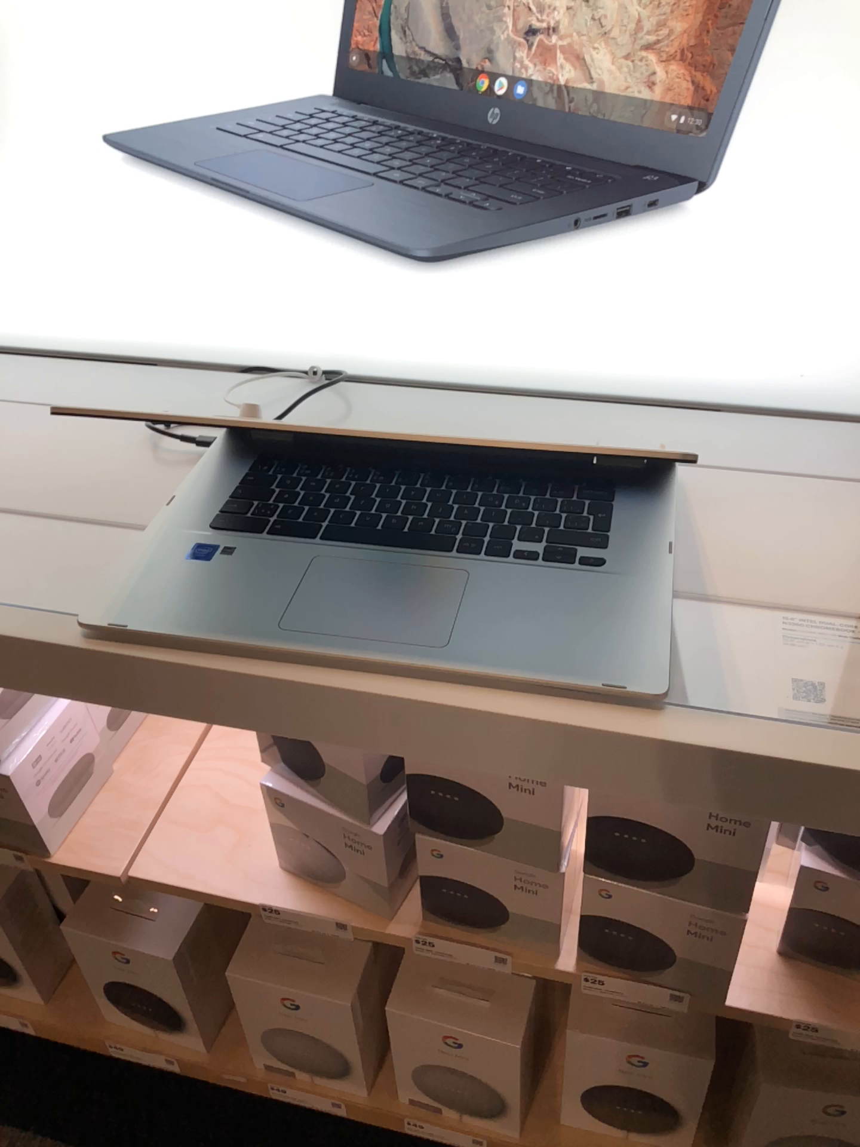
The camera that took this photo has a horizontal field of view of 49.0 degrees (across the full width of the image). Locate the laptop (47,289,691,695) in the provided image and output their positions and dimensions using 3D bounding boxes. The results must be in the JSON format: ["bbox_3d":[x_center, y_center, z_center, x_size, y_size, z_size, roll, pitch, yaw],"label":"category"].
[{"bbox_3d":[-0.021,-0.071,0.592,0.341,0.113,0.222,6,41,14],"label":"laptop"}]
